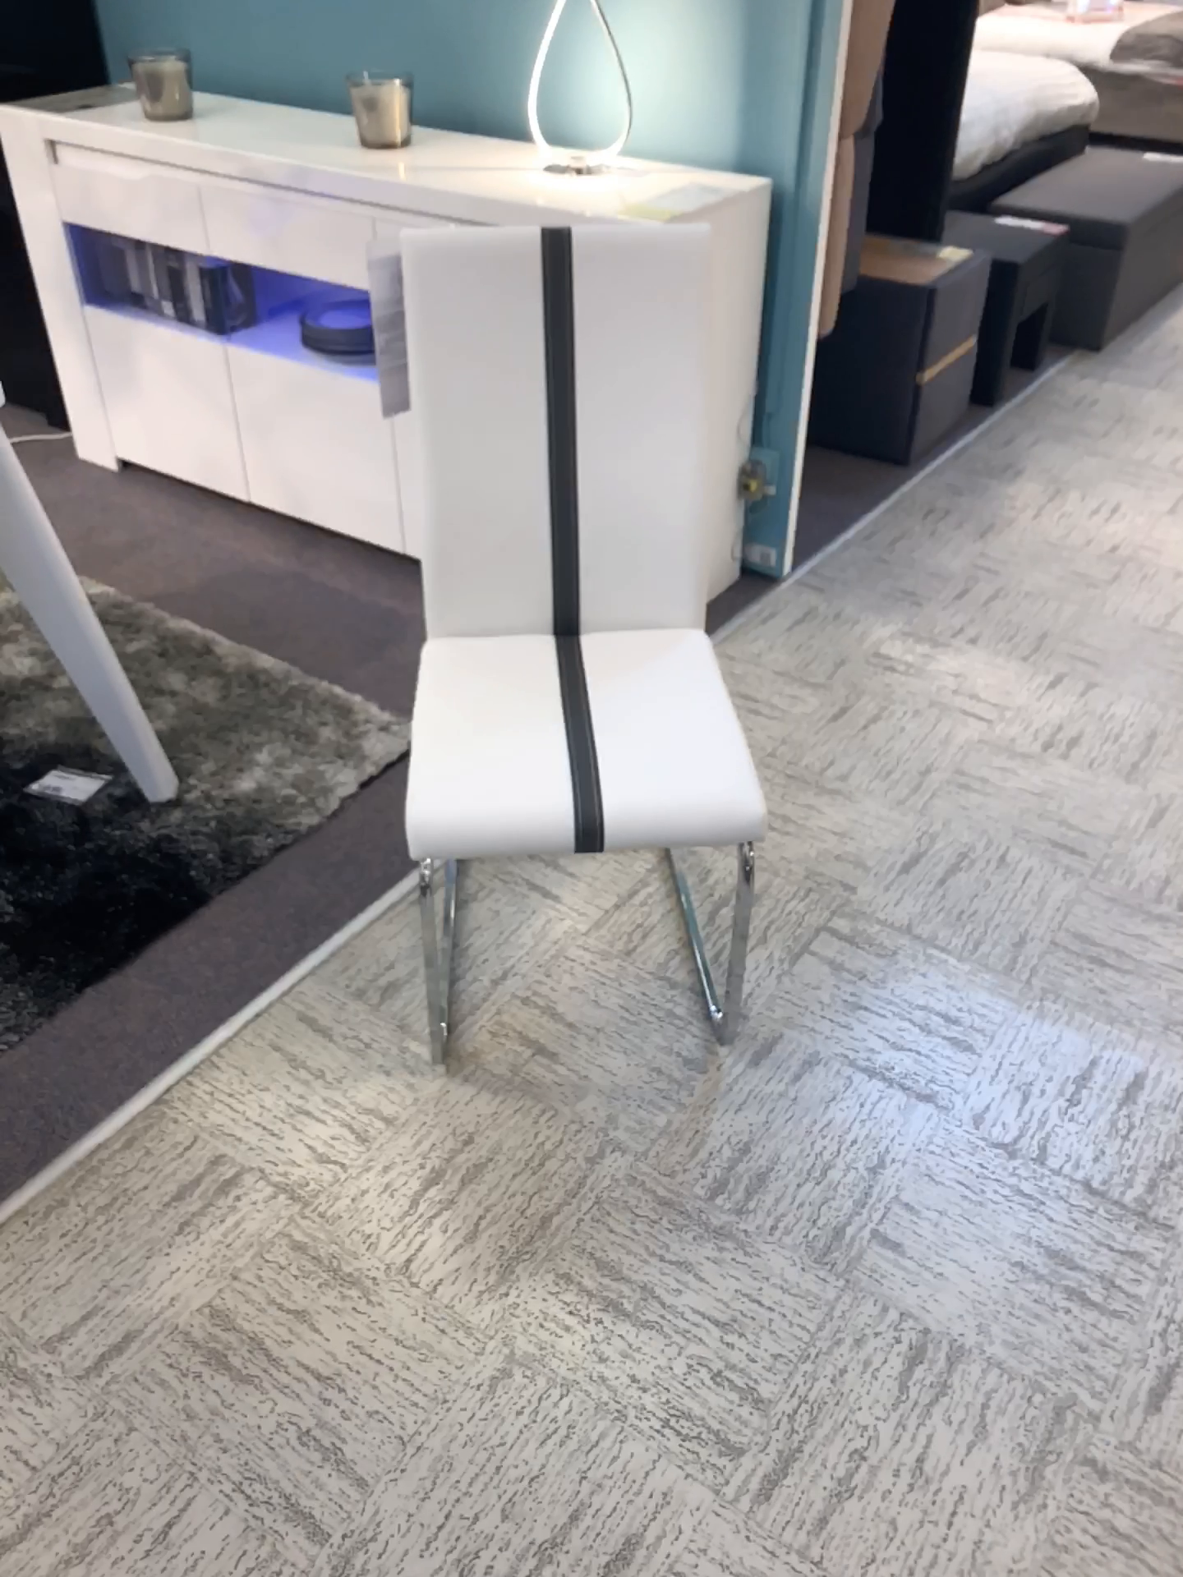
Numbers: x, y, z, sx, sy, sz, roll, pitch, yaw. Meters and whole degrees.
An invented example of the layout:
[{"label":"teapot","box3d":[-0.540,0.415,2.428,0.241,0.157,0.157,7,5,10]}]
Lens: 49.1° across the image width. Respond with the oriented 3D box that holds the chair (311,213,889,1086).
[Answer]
[{"label":"chair","box3d":[-0.005,-0.163,1.578,0.487,0.878,0.573,-2,36,-2]}]
